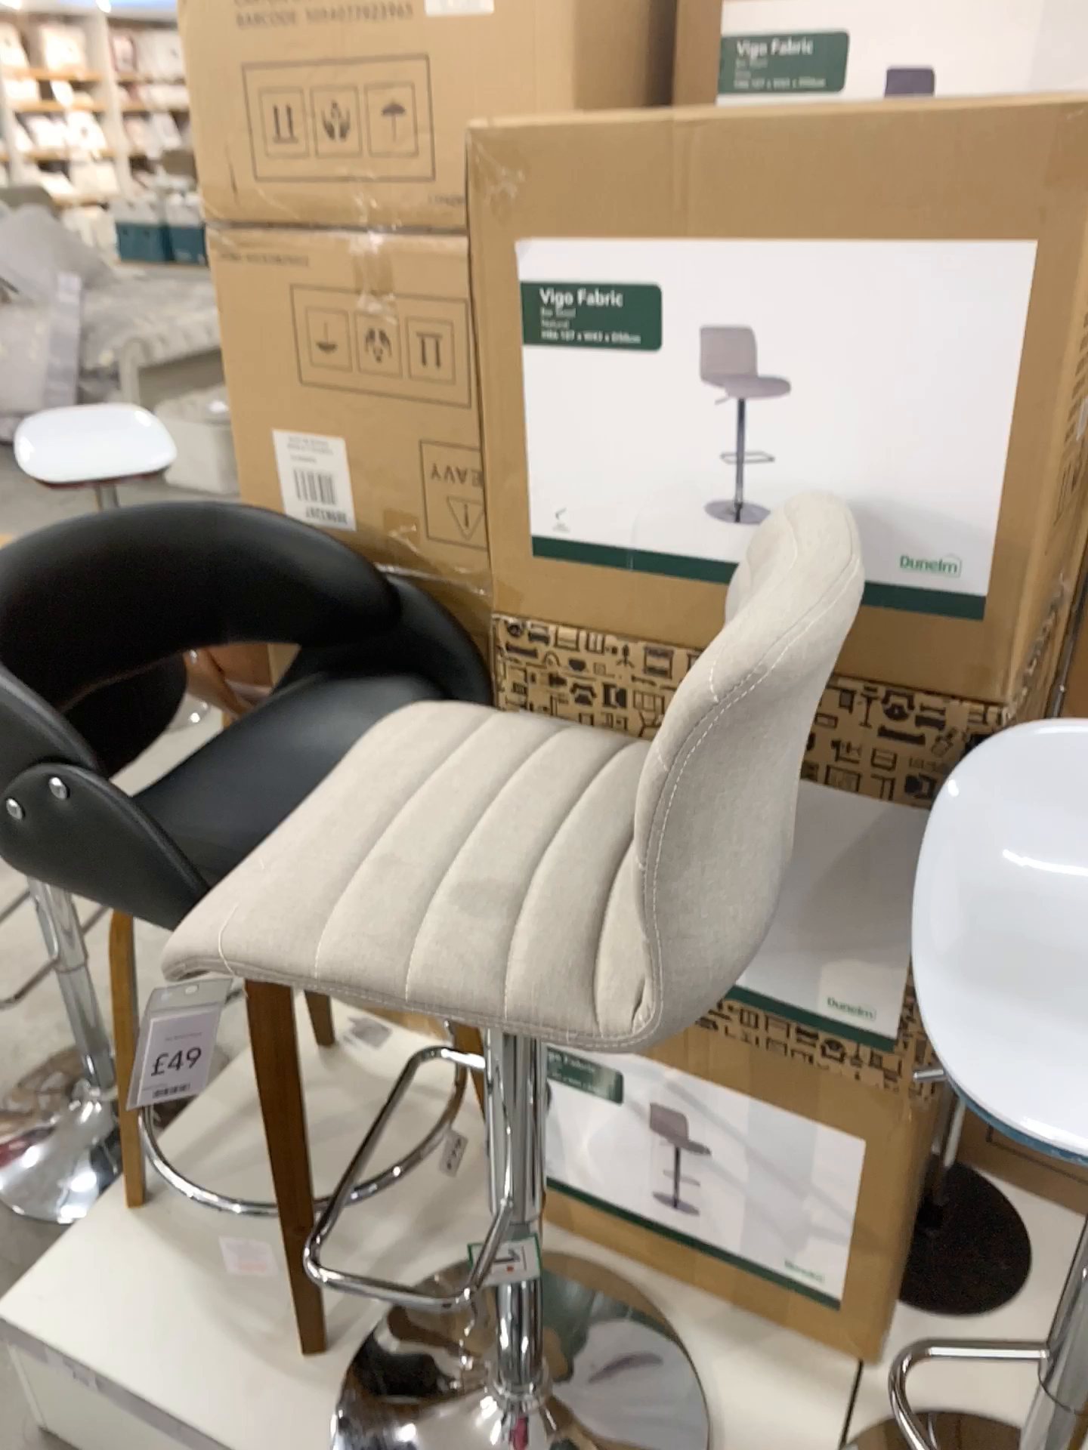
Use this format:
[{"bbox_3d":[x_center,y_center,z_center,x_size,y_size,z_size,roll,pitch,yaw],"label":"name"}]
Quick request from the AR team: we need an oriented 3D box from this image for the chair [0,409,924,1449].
[{"bbox_3d":[-0.028,0.293,0.987,0.508,0.985,0.467,11,30,20],"label":"chair"}]

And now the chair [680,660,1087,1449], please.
[{"bbox_3d":[0.375,0.437,0.853,0.404,0.826,0.391,11,30,20],"label":"chair"}]

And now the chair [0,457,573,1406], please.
[{"bbox_3d":[-0.306,0.202,1.349,0.489,0.866,0.538,14,31,25],"label":"chair"}]
